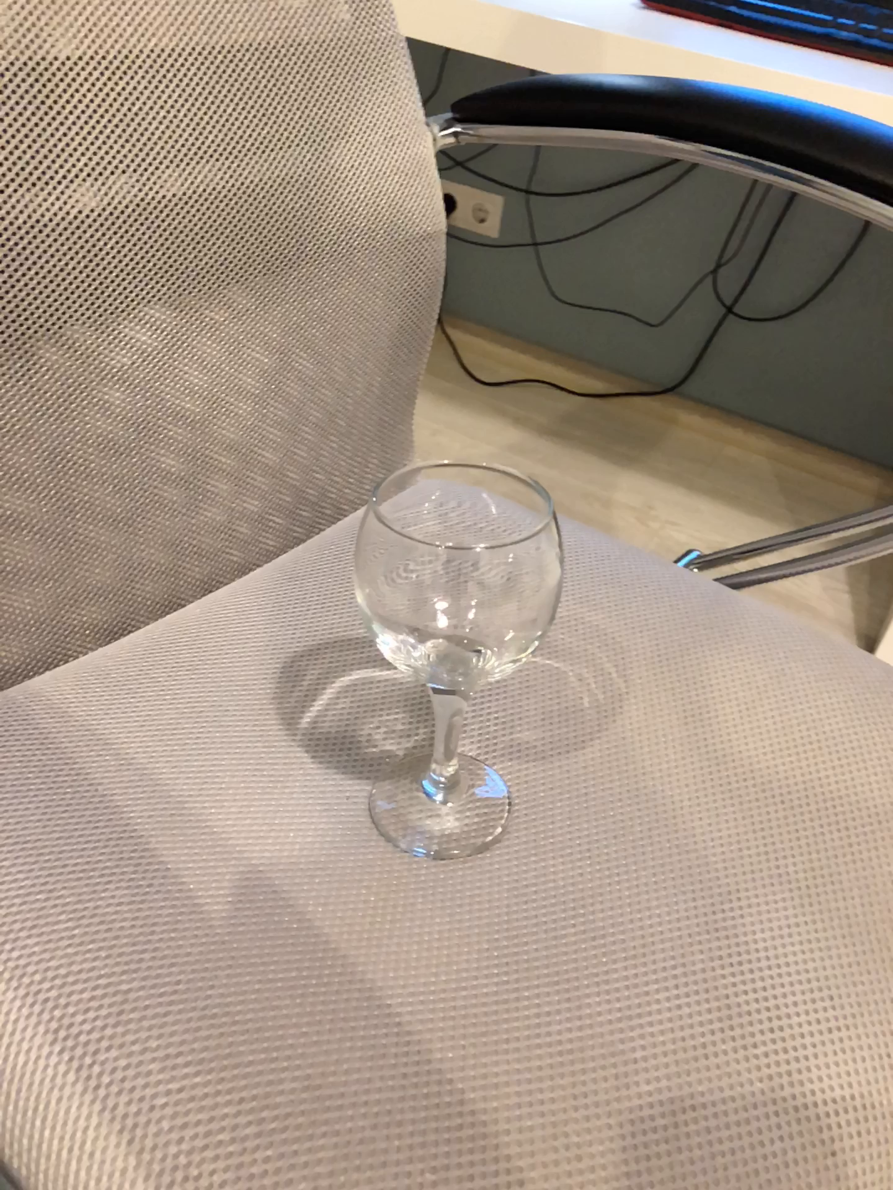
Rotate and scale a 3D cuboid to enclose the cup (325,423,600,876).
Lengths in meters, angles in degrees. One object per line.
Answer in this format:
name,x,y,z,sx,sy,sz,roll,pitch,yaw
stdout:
cup,0.003,0.028,0.420,0.088,0.172,0.081,5,38,-4
